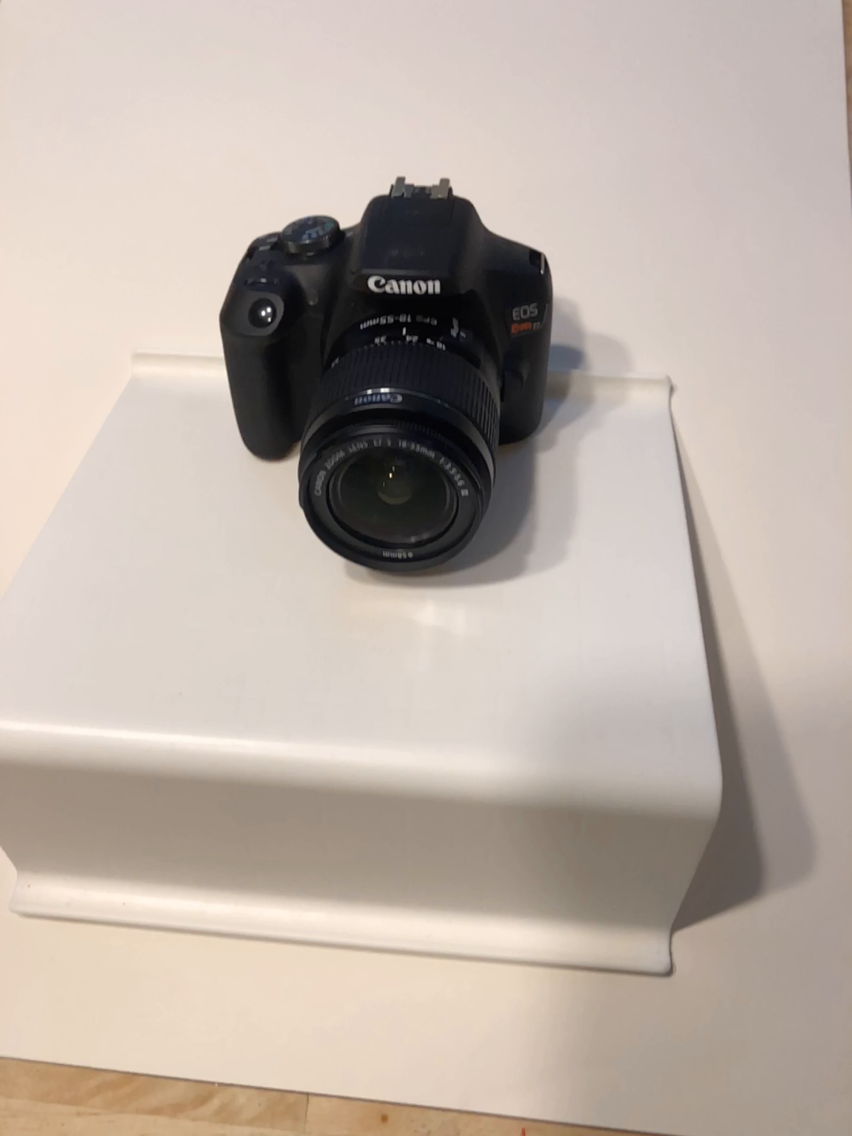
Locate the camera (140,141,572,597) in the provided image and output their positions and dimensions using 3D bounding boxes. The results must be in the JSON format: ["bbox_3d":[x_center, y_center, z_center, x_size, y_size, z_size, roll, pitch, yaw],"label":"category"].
[{"bbox_3d":[-0.015,-0.080,0.357,0.125,0.104,0.141,4,43,3],"label":"camera"}]
